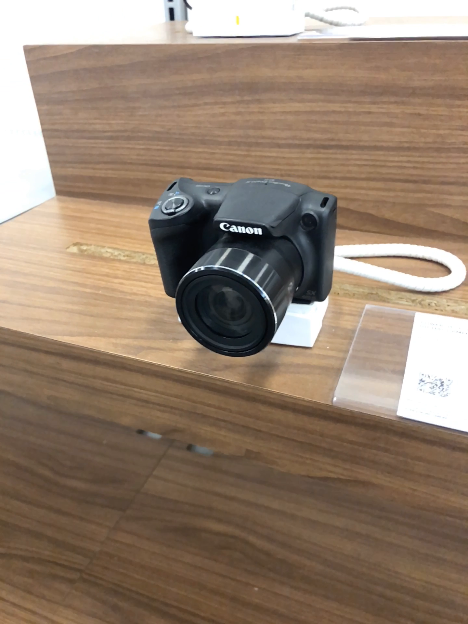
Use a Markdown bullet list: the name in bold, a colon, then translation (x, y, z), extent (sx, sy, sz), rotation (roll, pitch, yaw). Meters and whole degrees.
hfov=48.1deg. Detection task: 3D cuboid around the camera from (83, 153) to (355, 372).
- **camera**: translation (0.000, -0.037, 0.293), extent (0.110, 0.070, 0.110), rotation (9, 32, 19)
